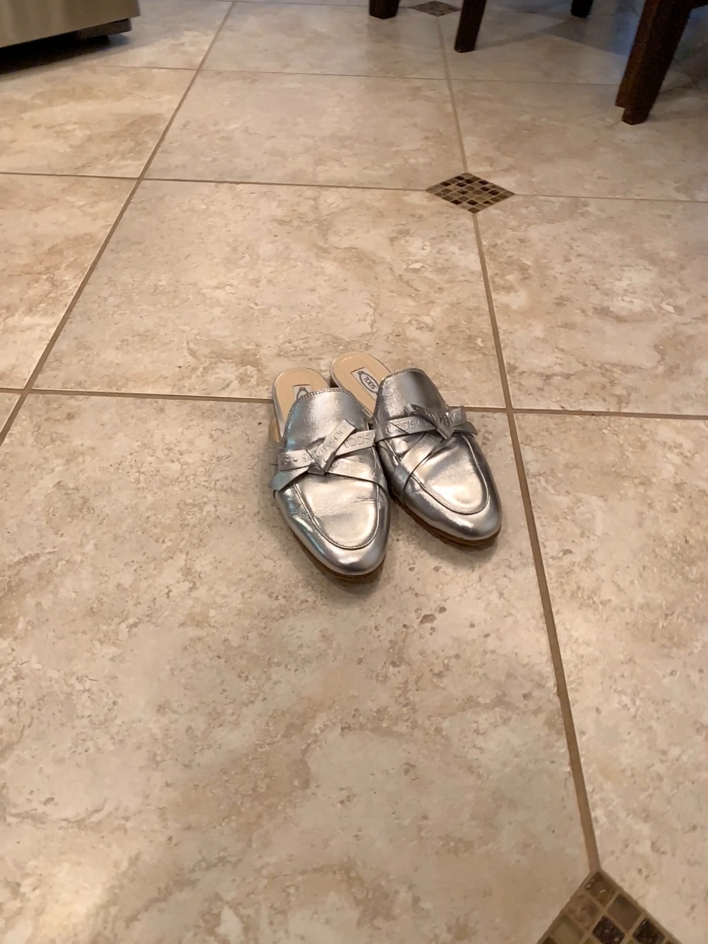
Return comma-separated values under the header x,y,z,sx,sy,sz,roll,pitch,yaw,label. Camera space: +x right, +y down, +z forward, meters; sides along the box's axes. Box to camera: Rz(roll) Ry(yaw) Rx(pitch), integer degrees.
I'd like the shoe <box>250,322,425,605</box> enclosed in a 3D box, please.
x,y,z,sx,sy,sz,roll,pitch,yaw,label
-0.026,-0.023,0.667,0.101,0.077,0.278,-8,46,-10,shoe

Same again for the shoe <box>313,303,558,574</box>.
x,y,z,sx,sy,sz,roll,pitch,yaw,label
0.061,-0.046,0.686,0.092,0.077,0.281,-19,49,-19,shoe
